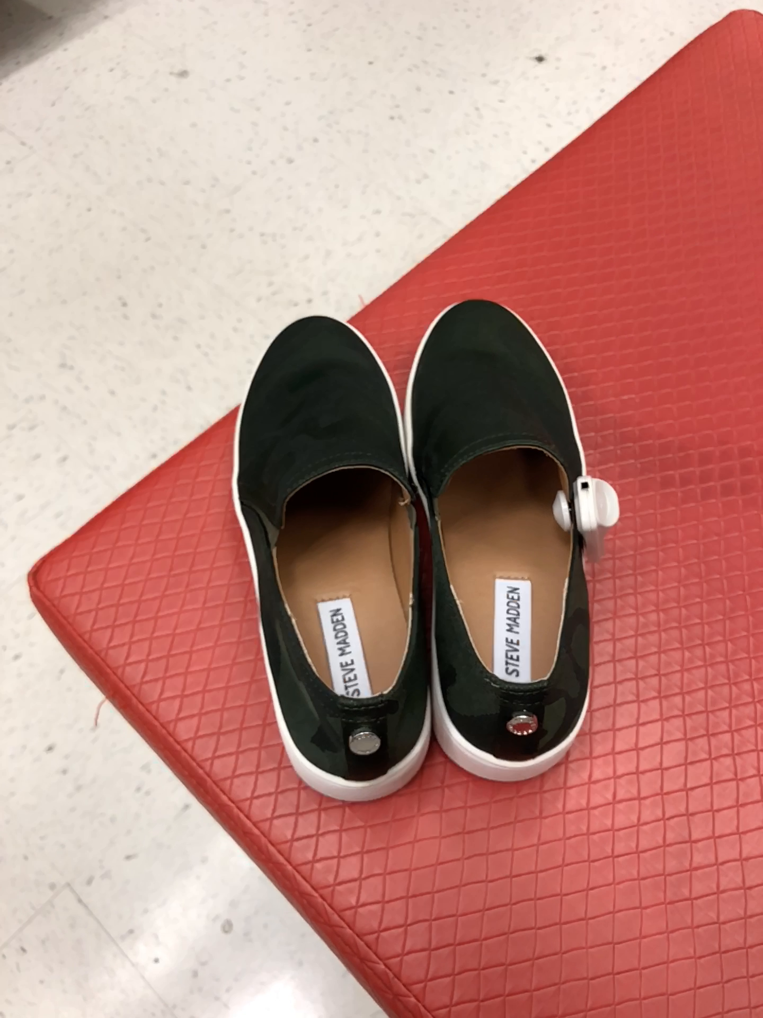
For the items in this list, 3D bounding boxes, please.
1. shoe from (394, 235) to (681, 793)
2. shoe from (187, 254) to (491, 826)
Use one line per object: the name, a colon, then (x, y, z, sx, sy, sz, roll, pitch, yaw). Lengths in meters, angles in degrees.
shoe: (0.058, -0.006, 0.404, 0.088, 0.090, 0.250, -3, 59, 0)
shoe: (-0.027, 0.006, 0.400, 0.091, 0.090, 0.244, -10, 60, -4)
